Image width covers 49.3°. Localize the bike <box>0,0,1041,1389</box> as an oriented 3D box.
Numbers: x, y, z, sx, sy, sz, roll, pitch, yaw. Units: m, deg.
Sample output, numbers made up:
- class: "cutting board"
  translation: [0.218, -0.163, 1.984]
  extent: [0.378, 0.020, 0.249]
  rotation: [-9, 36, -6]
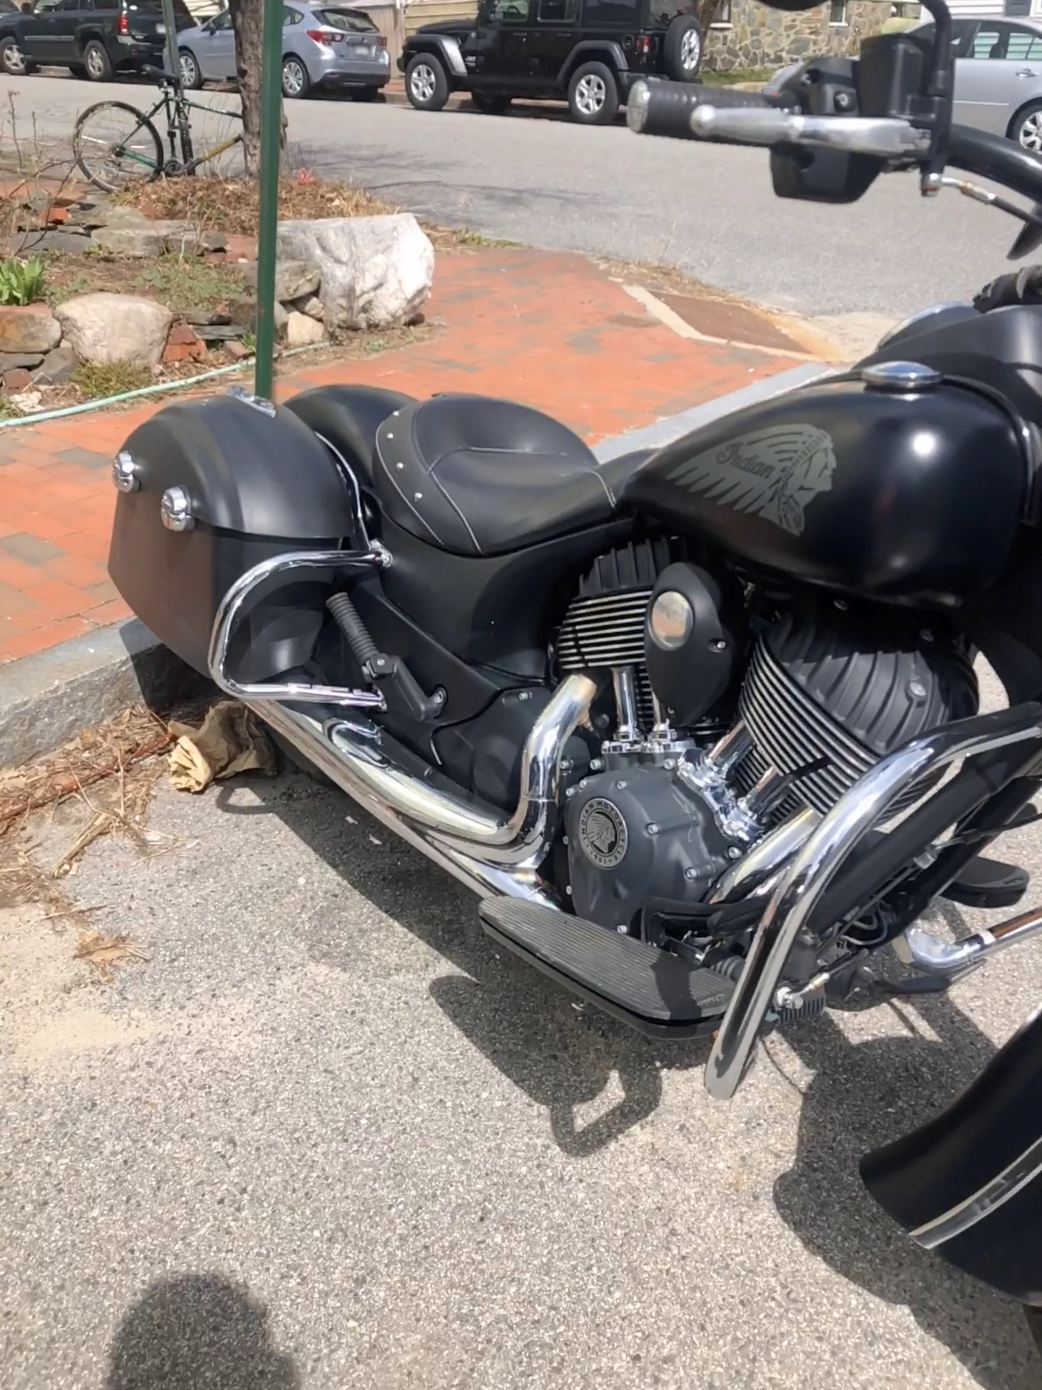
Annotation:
- class: "bike"
  translation: [0.281, -0.044, 1.363]
  extent: [0.783, 1.237, 2.132]
  rotation: [-24, 35, -35]
